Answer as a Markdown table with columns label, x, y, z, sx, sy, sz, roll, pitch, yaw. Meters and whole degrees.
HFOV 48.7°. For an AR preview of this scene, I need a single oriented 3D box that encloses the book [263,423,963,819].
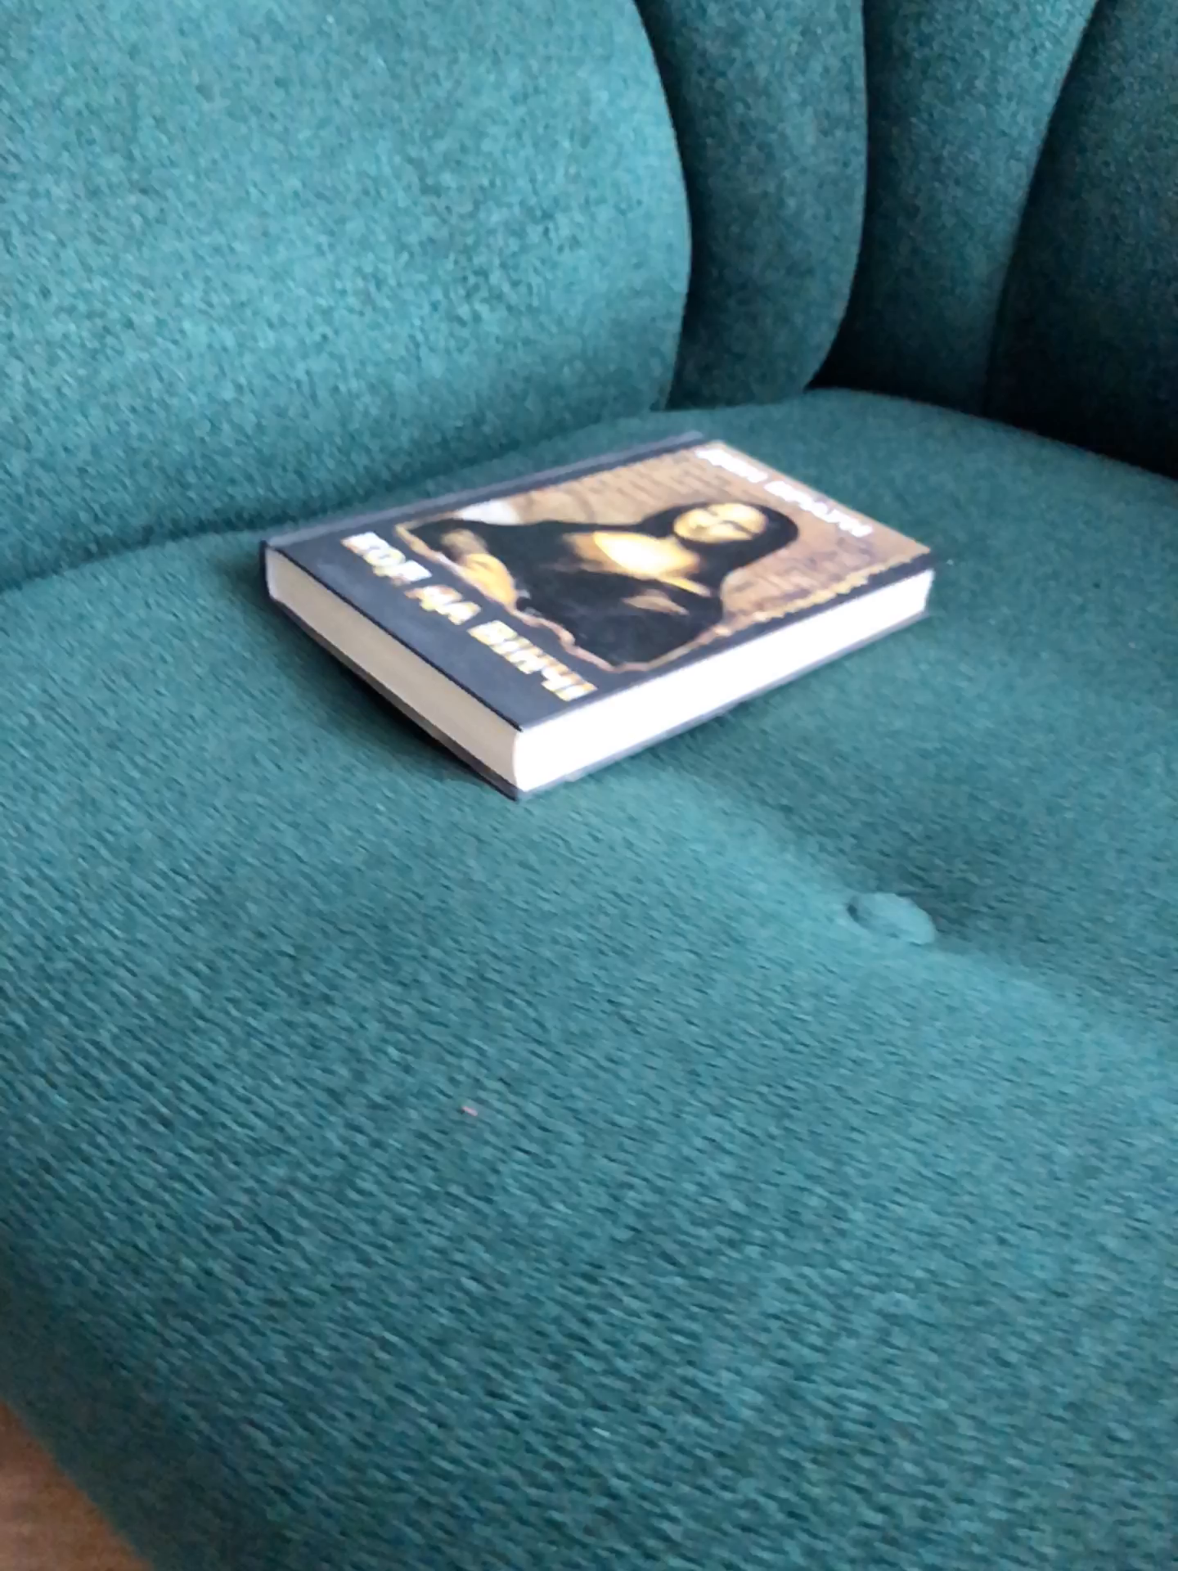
| label | x | y | z | sx | sy | sz | roll | pitch | yaw |
| --- | --- | --- | --- | --- | --- | --- | --- | --- | --- |
| book | 0.014 | -0.072 | 0.461 | 0.210 | 0.030 | 0.135 | -25 | 47 | -36 |
